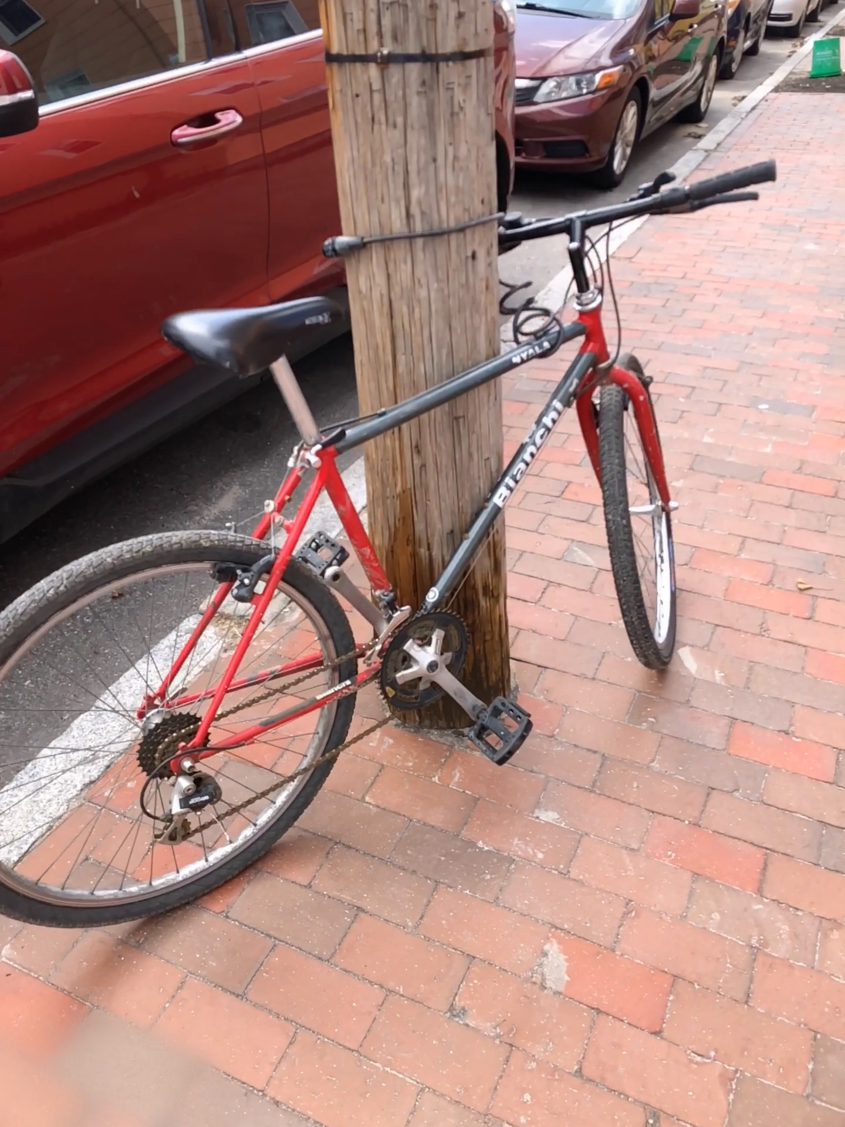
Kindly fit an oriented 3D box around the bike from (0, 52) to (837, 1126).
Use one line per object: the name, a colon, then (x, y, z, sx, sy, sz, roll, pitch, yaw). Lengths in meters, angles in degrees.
bike: (-0.062, -0.161, 1.497, 1.533, 0.983, 0.581, -30, 43, -34)
